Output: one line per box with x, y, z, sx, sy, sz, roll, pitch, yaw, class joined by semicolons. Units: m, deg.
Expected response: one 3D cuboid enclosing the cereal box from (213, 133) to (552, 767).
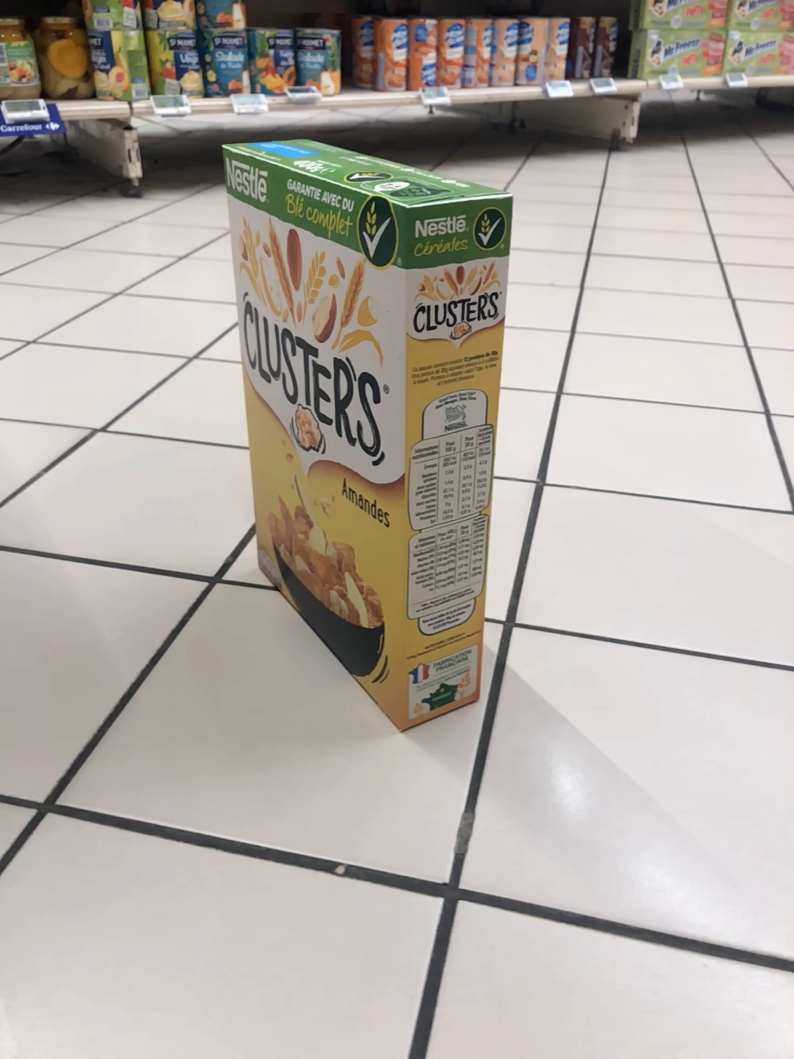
-0.021;-0.051;0.464;0.060;0.268;0.211;-15;34;-26;cereal box
